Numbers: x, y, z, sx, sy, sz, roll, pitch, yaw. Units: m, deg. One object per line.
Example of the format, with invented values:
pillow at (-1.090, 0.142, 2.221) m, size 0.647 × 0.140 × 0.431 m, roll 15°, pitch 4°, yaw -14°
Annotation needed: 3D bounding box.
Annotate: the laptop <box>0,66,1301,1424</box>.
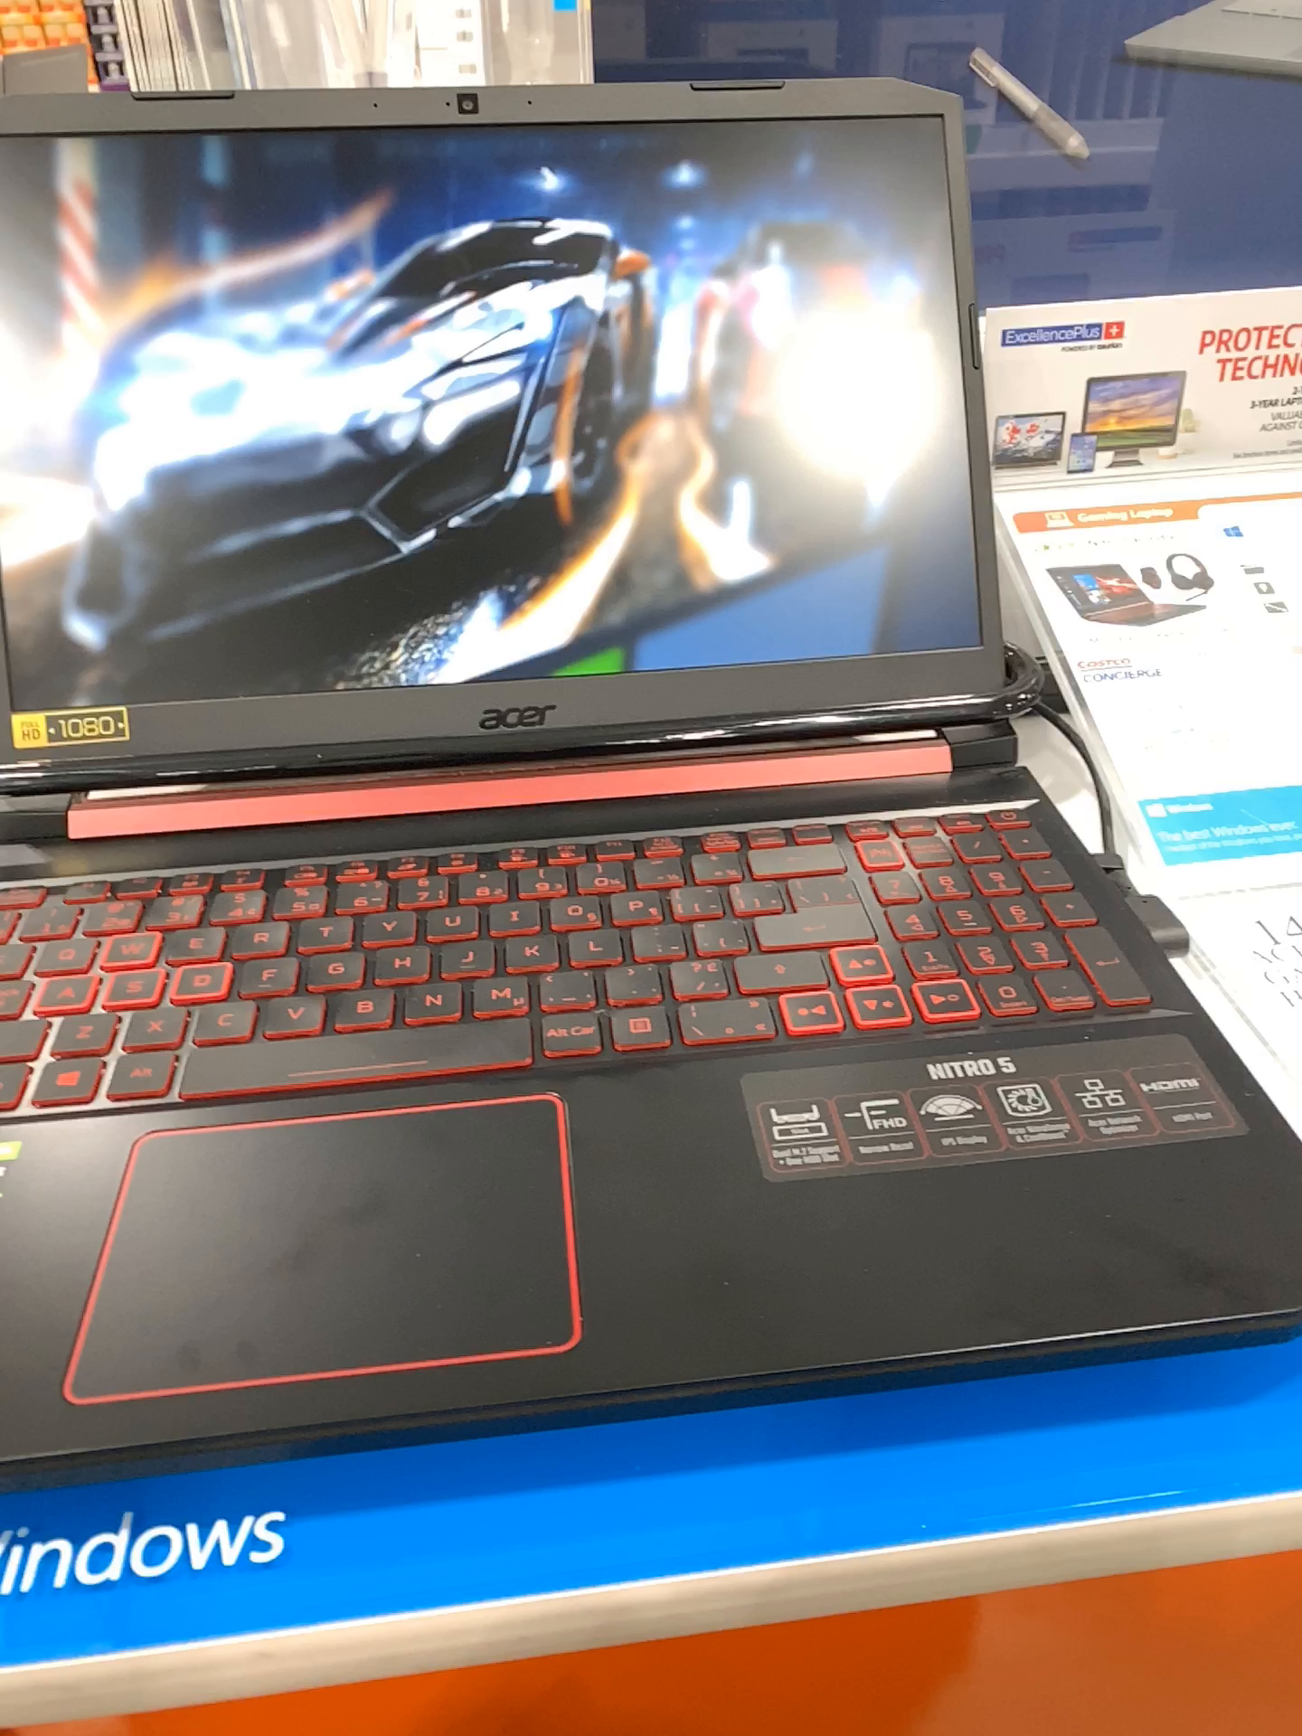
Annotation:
laptop at (-0.048, -0.090, 0.376) m, size 0.358 × 0.198 × 0.381 m, roll -4°, pitch 35°, yaw -4°
